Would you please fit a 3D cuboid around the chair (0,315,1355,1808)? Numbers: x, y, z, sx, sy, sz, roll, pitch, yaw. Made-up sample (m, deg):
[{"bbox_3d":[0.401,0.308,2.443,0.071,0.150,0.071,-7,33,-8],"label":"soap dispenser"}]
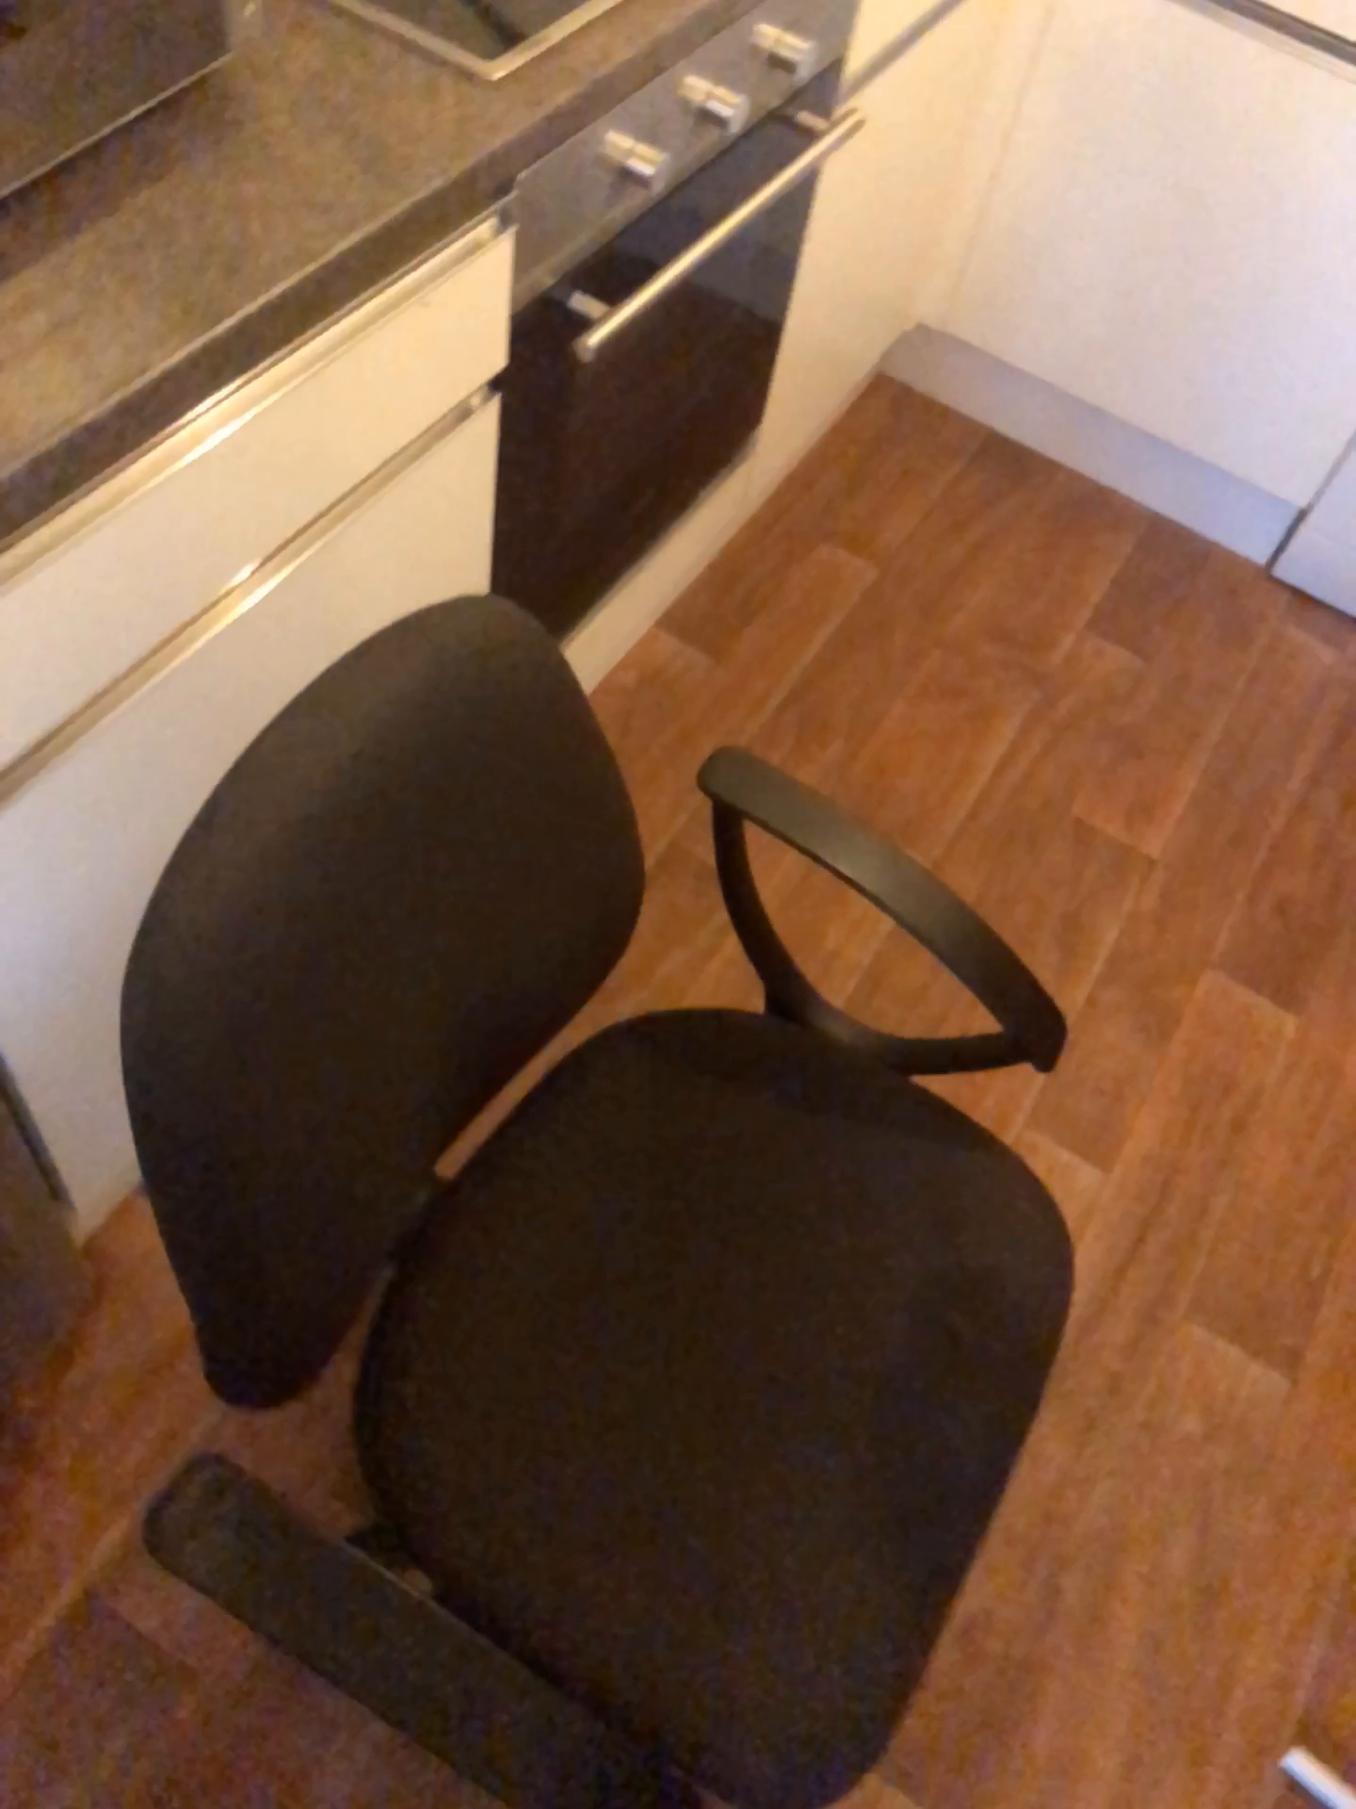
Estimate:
[{"bbox_3d":[0.002,0.256,1.047,0.643,0.883,0.639,30,57,9],"label":"chair"}]
